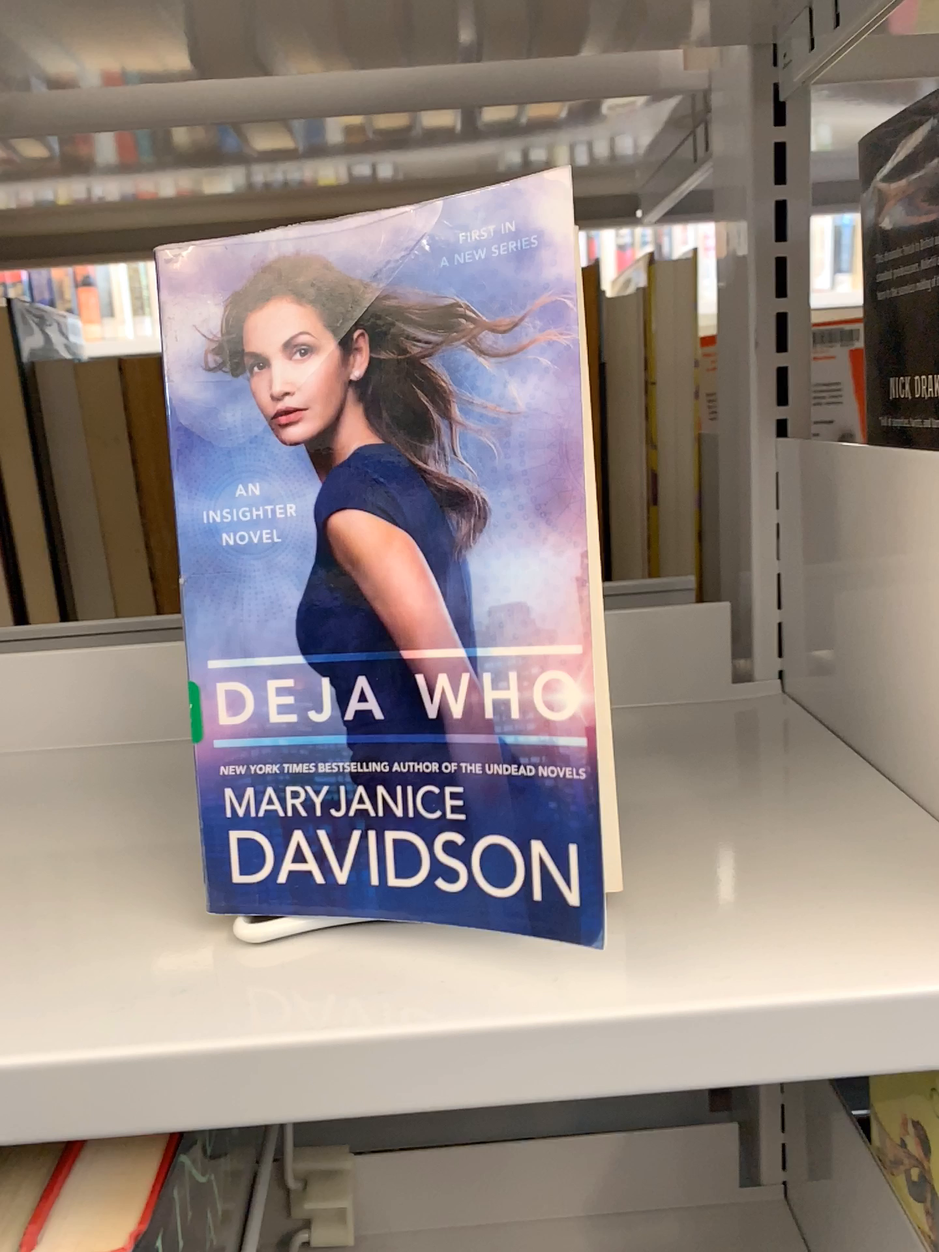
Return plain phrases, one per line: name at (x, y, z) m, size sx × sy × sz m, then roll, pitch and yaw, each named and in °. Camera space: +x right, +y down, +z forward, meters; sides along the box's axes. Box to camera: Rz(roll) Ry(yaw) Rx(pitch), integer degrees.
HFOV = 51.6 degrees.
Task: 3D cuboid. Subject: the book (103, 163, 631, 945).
book at (-0.028, -0.016, 0.276) m, size 0.136 × 0.190 × 0.047 m, roll -2°, pitch 0°, yaw 15°
